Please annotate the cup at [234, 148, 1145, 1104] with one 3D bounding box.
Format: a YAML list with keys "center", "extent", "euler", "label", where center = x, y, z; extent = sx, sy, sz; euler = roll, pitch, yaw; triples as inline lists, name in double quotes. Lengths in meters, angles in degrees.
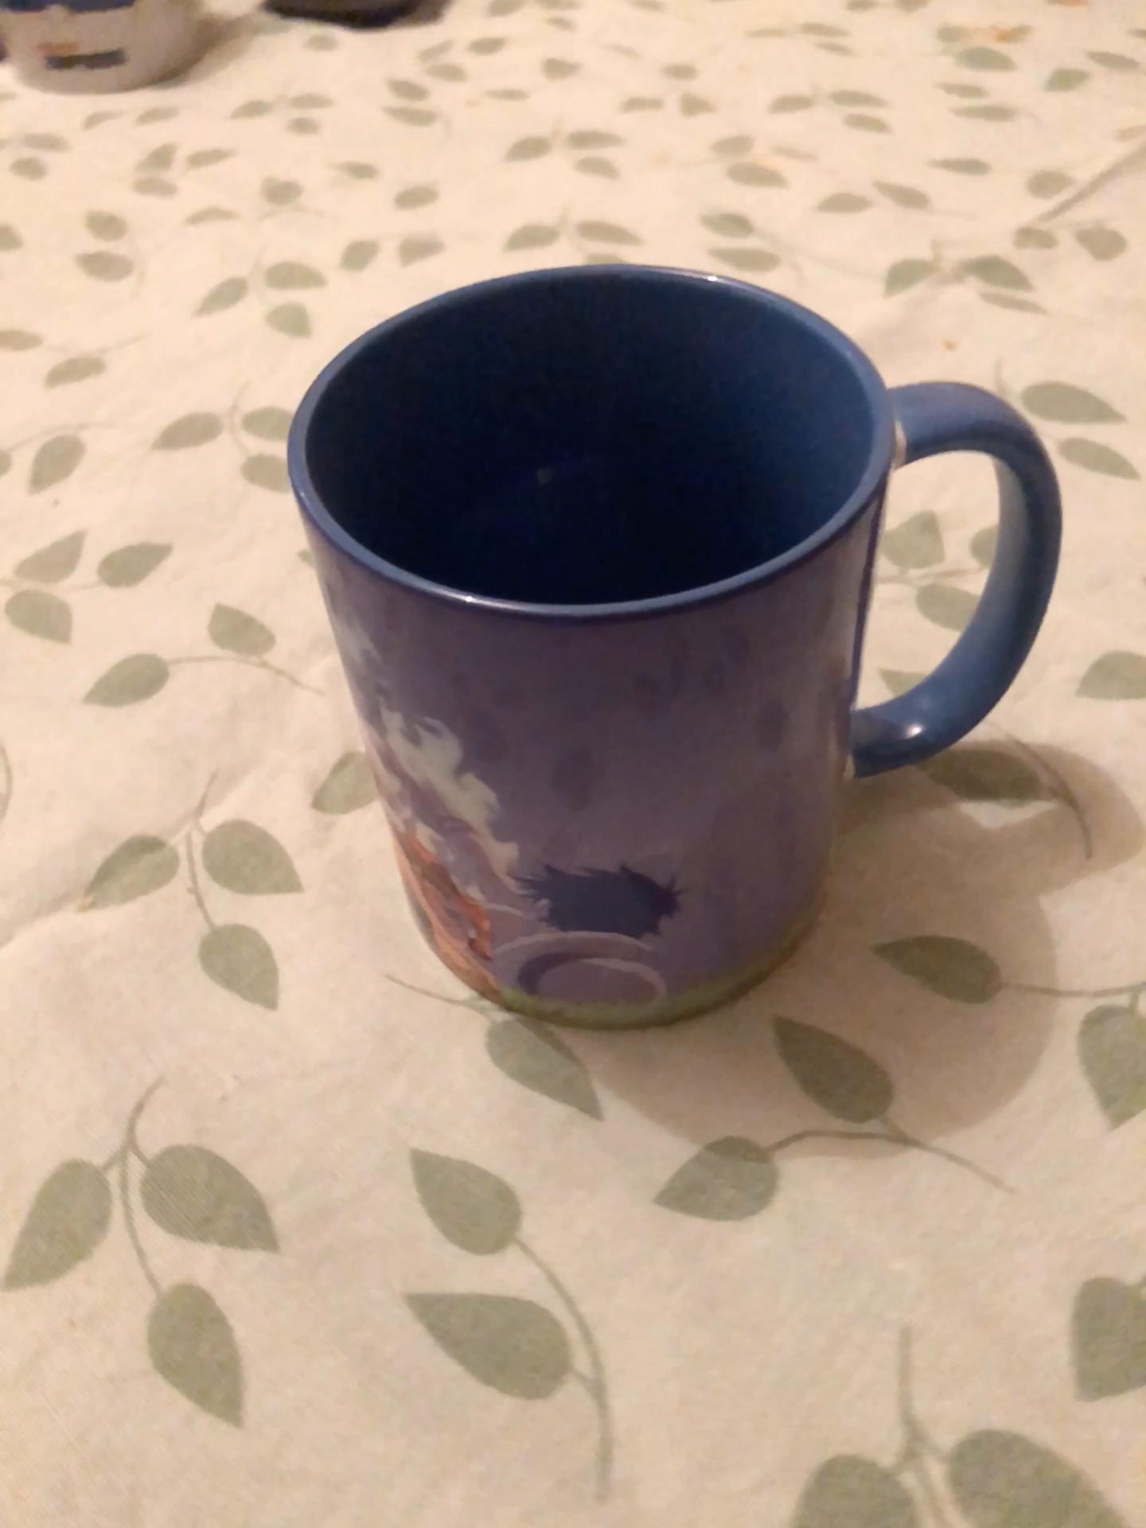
- center: [0.020, -0.022, 0.209]
  extent: [0.120, 0.099, 0.091]
  euler: [-12, 48, -6]
  label: "cup"
